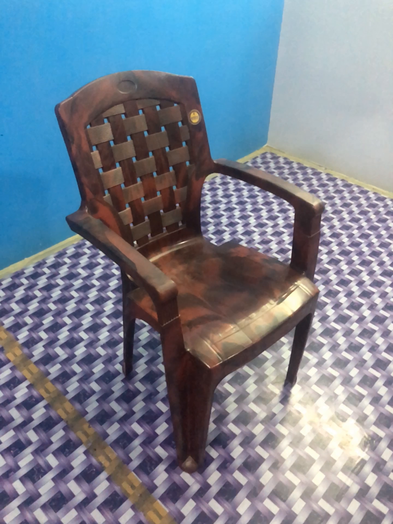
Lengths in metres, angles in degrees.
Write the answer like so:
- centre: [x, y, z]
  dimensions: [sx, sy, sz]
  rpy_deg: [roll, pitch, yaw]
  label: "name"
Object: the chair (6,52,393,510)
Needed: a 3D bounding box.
- centre: [0.019, 0.006, 1.118]
  dimensions: [0.593, 0.845, 0.591]
  rpy_deg: [-28, 46, -34]
  label: "chair"
